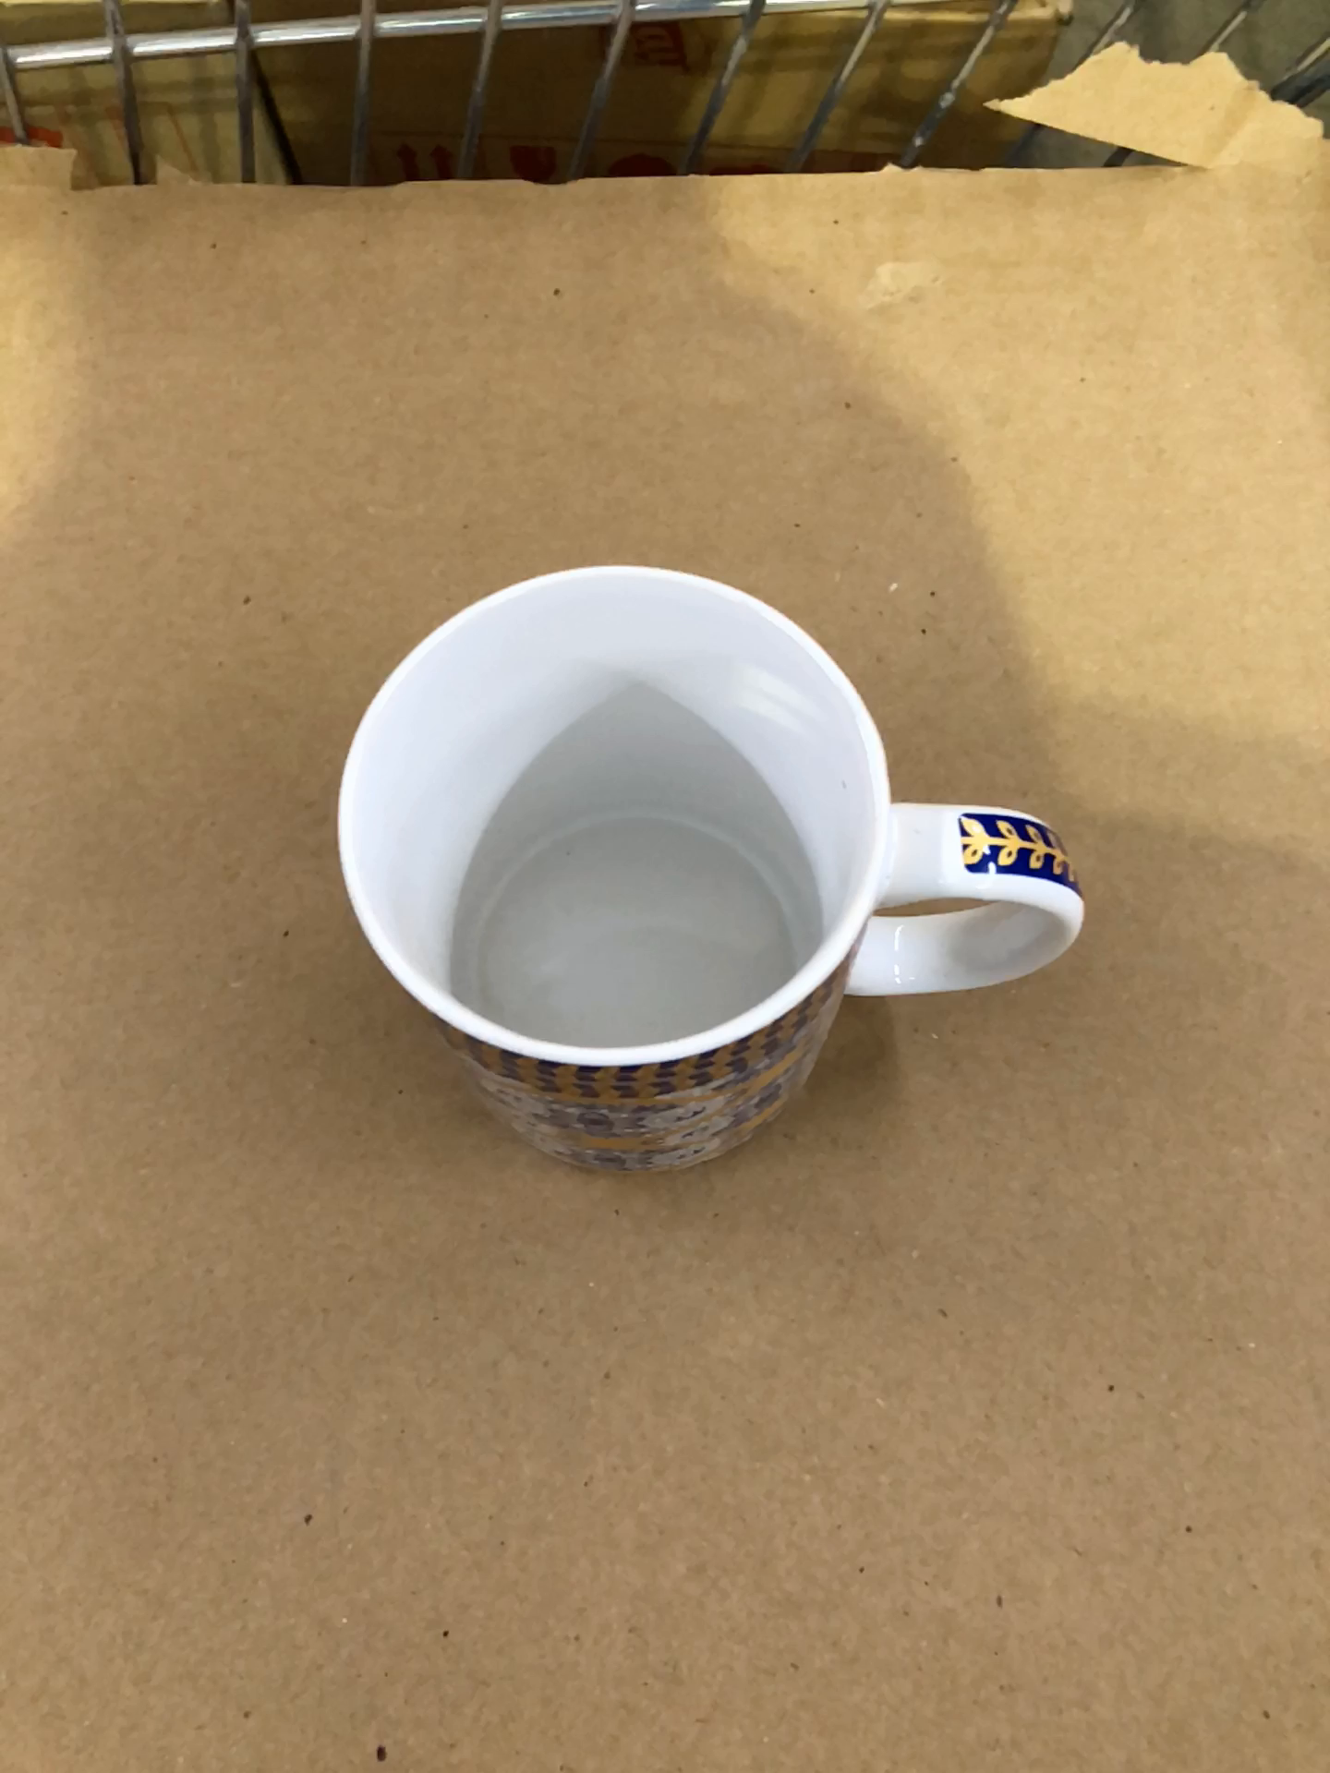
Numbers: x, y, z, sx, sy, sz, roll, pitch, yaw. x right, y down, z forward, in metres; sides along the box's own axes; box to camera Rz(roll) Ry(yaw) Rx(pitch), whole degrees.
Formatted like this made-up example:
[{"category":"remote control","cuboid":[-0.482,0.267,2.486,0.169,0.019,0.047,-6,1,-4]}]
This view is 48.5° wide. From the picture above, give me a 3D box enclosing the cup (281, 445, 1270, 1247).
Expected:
[{"category":"cup","cuboid":[0.012,0.000,0.245,0.120,0.100,0.080,-9,66,-2]}]
